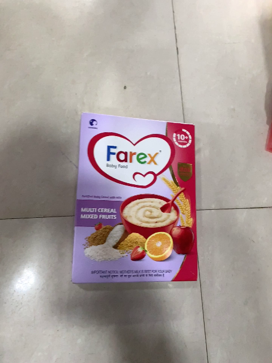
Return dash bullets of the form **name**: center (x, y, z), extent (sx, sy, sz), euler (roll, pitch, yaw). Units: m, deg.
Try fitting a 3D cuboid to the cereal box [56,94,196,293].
- **cereal box**: center (-0.012, 0.015, 0.340), extent (0.150, 0.060, 0.210), euler (4, 79, -14)
